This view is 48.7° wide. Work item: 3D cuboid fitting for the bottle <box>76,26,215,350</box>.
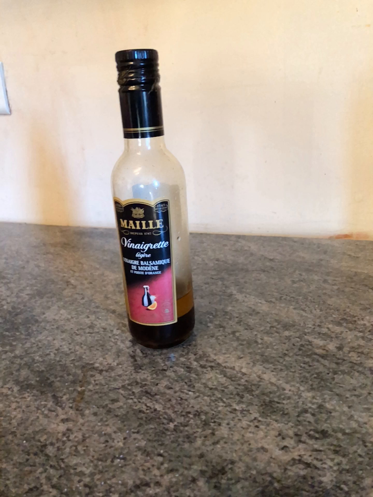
[{"bbox_3d":[-0.022,-0.041,0.328,0.070,0.229,0.070,-3,20,1],"label":"bottle"}]
